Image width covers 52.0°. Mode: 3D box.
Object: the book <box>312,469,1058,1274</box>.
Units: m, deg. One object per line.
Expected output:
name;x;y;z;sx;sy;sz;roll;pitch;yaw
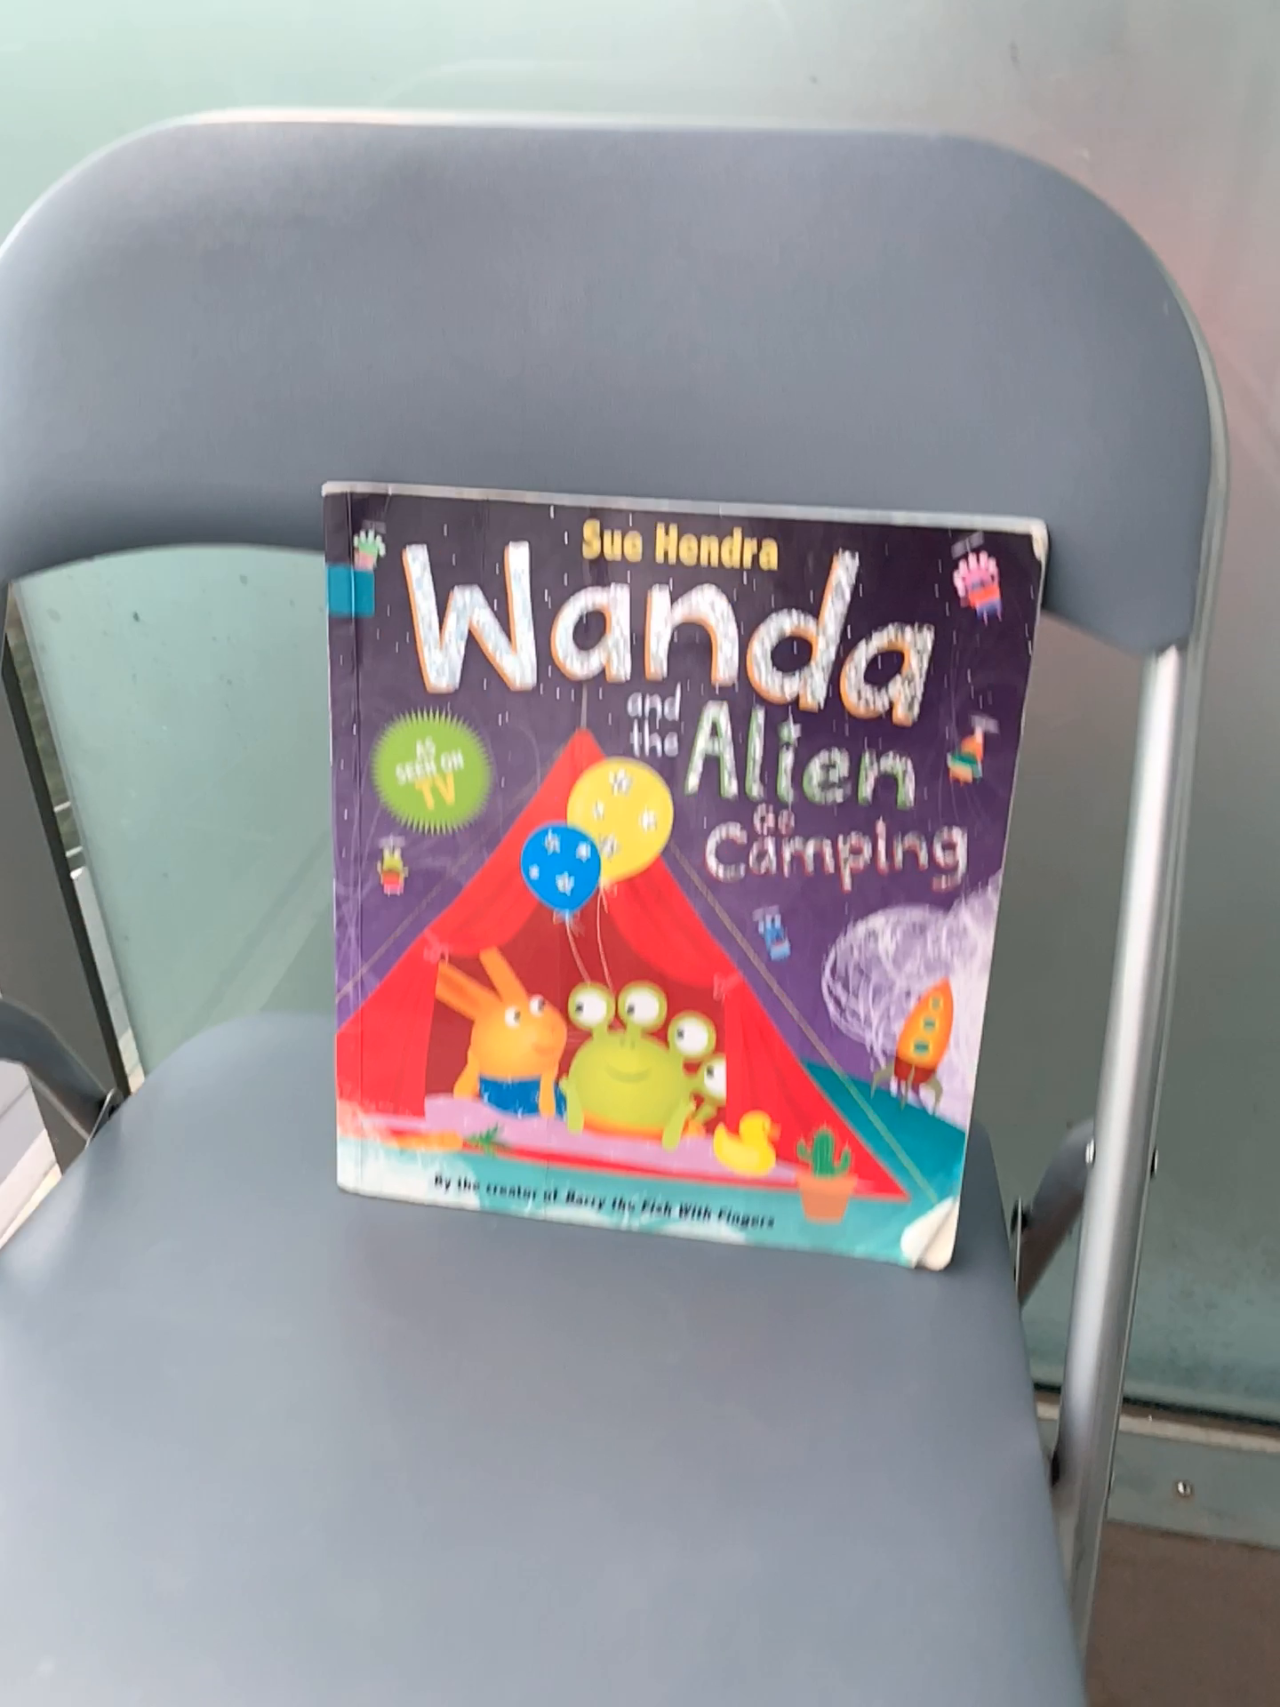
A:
book;0.006;0.012;0.462;0.230;0.268;0.030;6;21;8
